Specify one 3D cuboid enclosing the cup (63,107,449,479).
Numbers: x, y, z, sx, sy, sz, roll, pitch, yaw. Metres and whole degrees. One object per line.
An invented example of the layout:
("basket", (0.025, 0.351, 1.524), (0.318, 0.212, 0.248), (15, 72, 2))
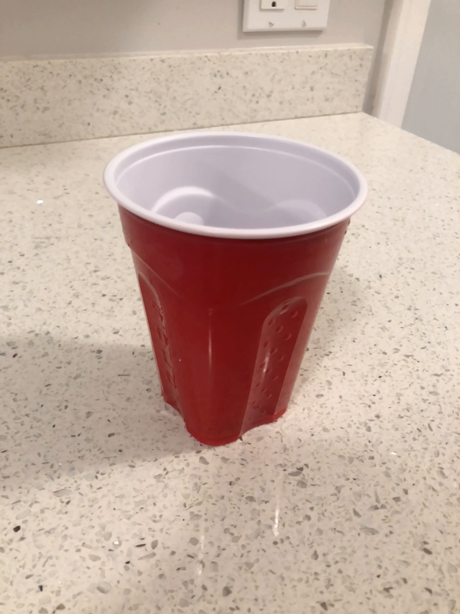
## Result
("cup", (0.003, -0.016, 0.213), (0.100, 0.092, 0.102), (2, 36, -1))
